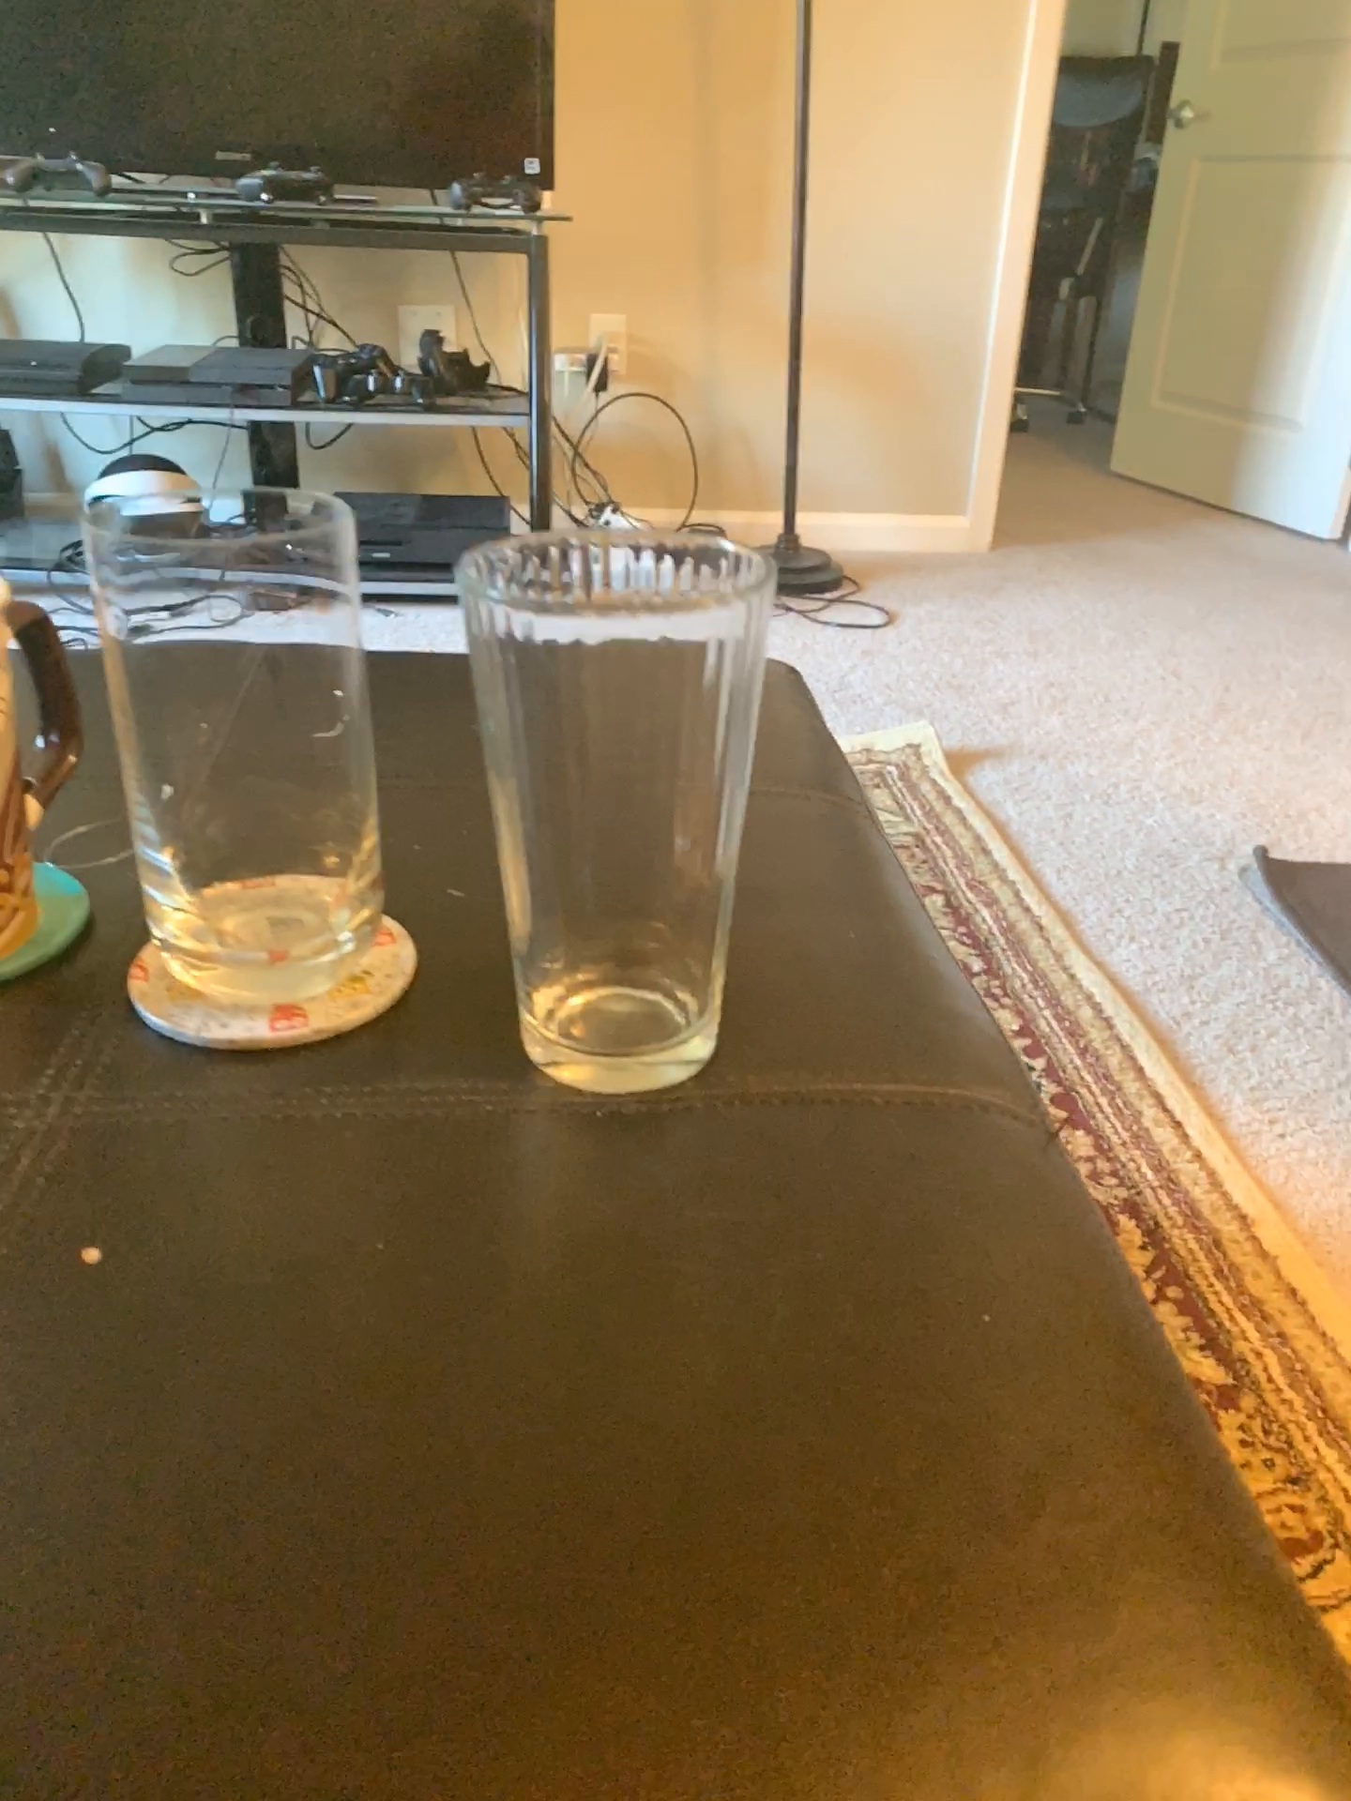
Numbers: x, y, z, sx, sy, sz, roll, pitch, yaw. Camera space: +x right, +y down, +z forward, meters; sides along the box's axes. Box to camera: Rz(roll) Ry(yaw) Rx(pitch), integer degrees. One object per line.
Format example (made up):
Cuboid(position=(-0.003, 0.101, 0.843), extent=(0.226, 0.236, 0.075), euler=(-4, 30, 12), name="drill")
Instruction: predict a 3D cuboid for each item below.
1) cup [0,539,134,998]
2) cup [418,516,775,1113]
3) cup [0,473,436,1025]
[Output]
Cuboid(position=(-0.236, -0.044, 0.414), extent=(0.090, 0.099, 0.090), euler=(2, 27, -1), name="cup")
Cuboid(position=(-0.019, -0.026, 0.384), extent=(0.080, 0.139, 0.080), euler=(2, 27, -1), name="cup")
Cuboid(position=(-0.123, -0.046, 0.396), extent=(0.080, 0.129, 0.080), euler=(2, 27, -1), name="cup")
